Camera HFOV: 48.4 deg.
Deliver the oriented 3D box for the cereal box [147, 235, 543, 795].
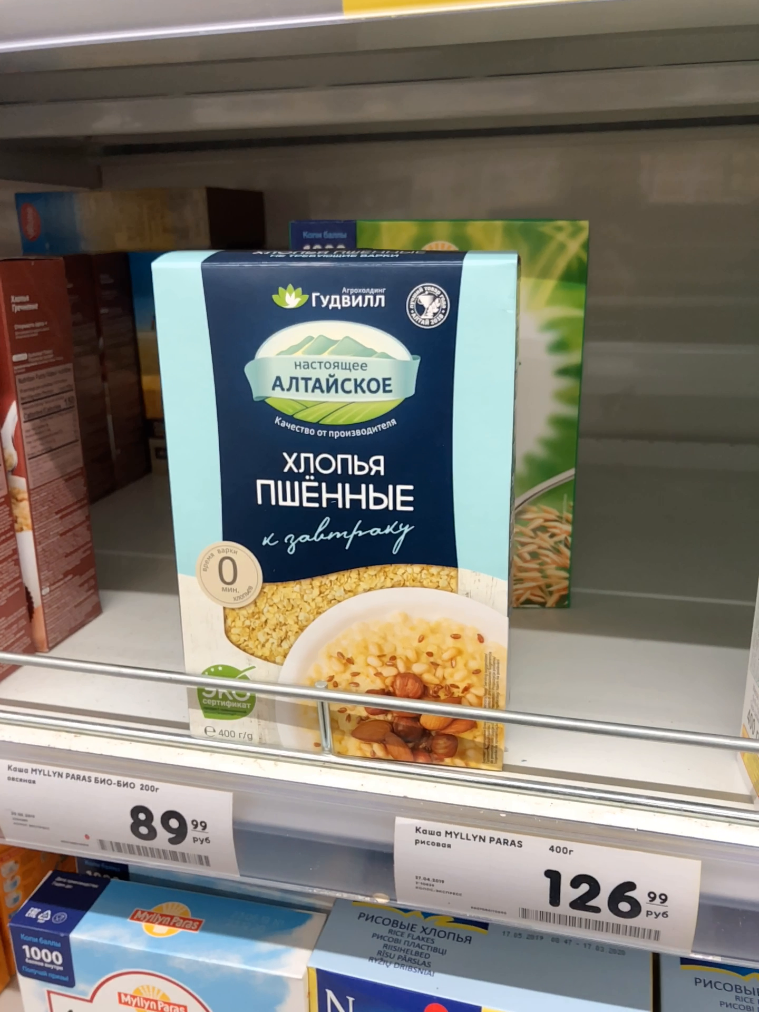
[{"bbox_3d":[-0.007,0.001,0.328,0.130,0.199,0.060,2,17,11],"label":"cereal box"}]
